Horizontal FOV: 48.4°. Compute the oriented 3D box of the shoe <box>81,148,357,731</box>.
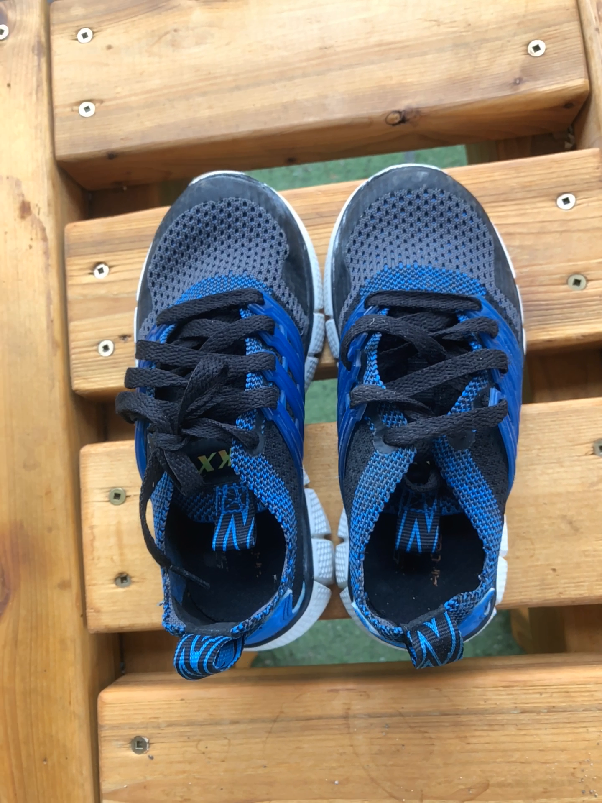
[{"bbox_3d":[-0.028,0.015,0.288,0.080,0.100,0.200,-6,84,6],"label":"shoe"}]

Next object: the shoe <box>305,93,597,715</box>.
[{"bbox_3d":[0.050,0.002,0.258,0.080,0.100,0.190,-2,85,7],"label":"shoe"}]
